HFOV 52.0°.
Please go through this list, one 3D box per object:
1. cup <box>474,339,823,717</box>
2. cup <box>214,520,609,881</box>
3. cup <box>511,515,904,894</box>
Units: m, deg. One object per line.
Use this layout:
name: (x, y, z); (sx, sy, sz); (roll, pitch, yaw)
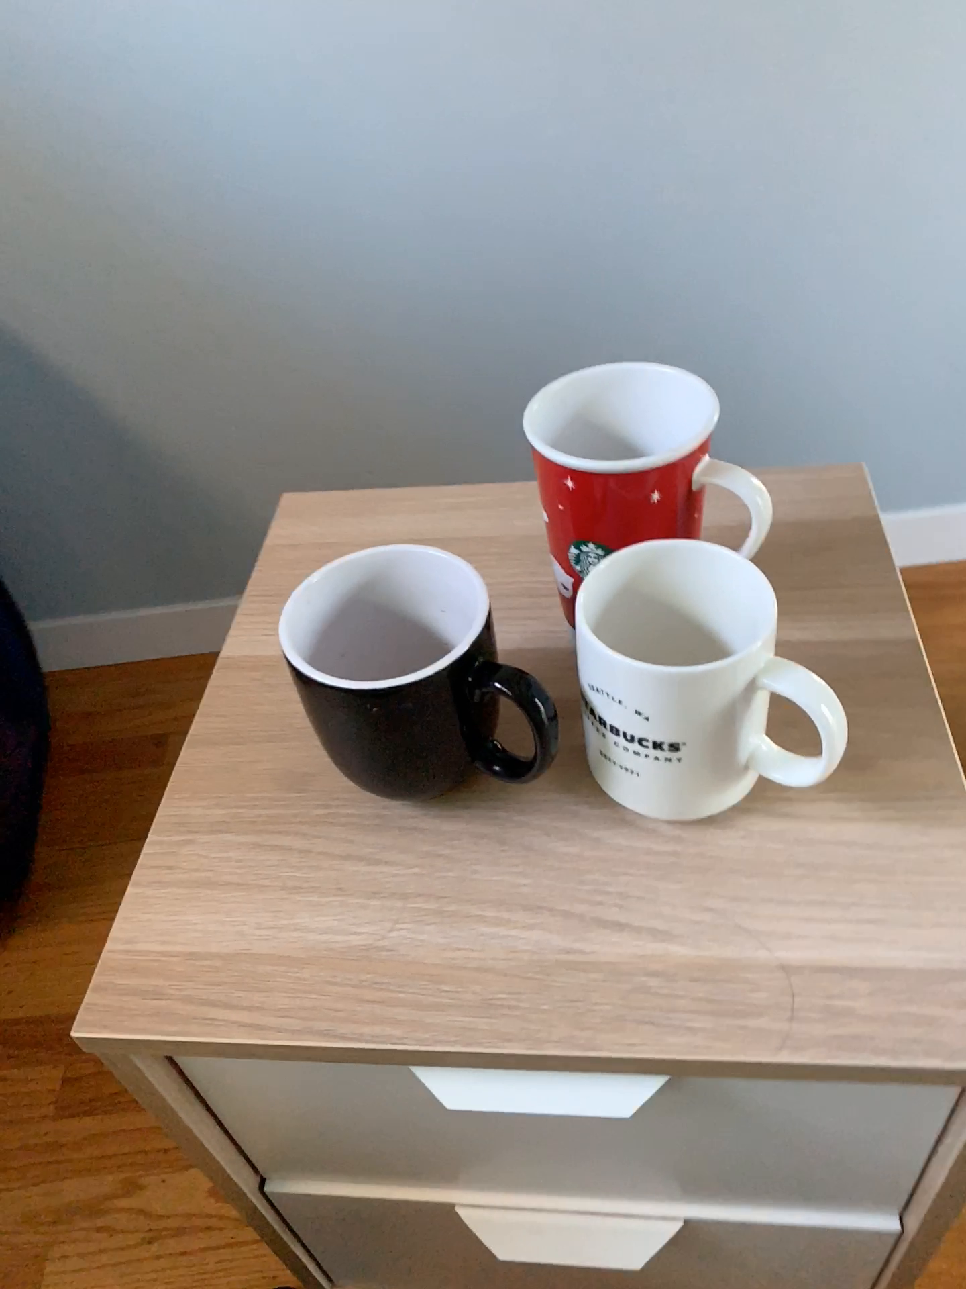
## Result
cup: (0.089, -0.066, 0.539); (0.141, 0.139, 0.100); (23, 51, 30)
cup: (-0.027, 0.021, 0.463); (0.140, 0.090, 0.100); (16, 49, 25)
cup: (0.103, 0.023, 0.466); (0.140, 0.100, 0.100); (18, 49, 27)
